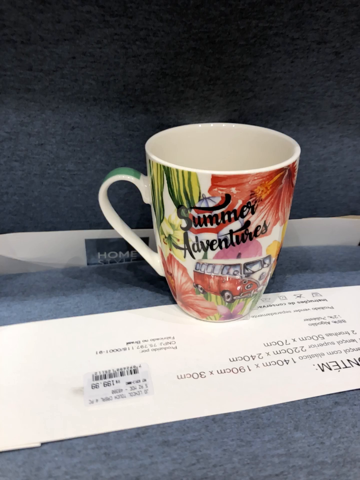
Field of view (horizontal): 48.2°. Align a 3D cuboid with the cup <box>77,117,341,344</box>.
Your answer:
[{"bbox_3d":[0.008,-0.013,0.224,0.110,0.090,0.090,-3,27,-7],"label":"cup"}]
